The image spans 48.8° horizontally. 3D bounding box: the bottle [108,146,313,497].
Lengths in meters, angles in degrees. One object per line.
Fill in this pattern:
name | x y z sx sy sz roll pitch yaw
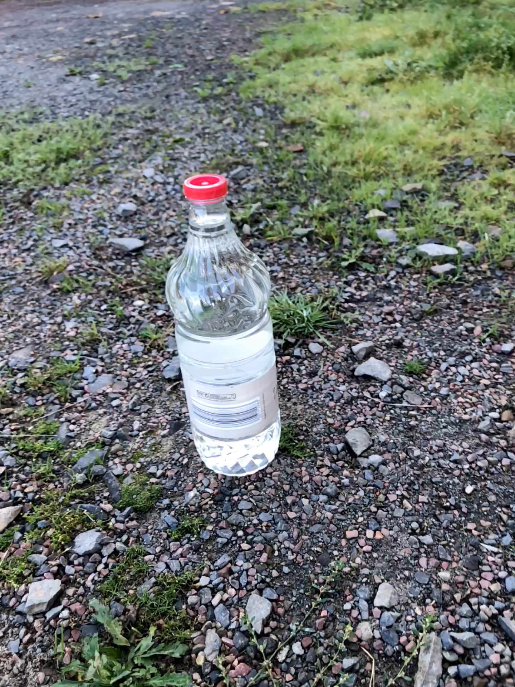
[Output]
bottle | -0.030 -0.014 0.464 0.100 0.249 0.100 -5 34 3
